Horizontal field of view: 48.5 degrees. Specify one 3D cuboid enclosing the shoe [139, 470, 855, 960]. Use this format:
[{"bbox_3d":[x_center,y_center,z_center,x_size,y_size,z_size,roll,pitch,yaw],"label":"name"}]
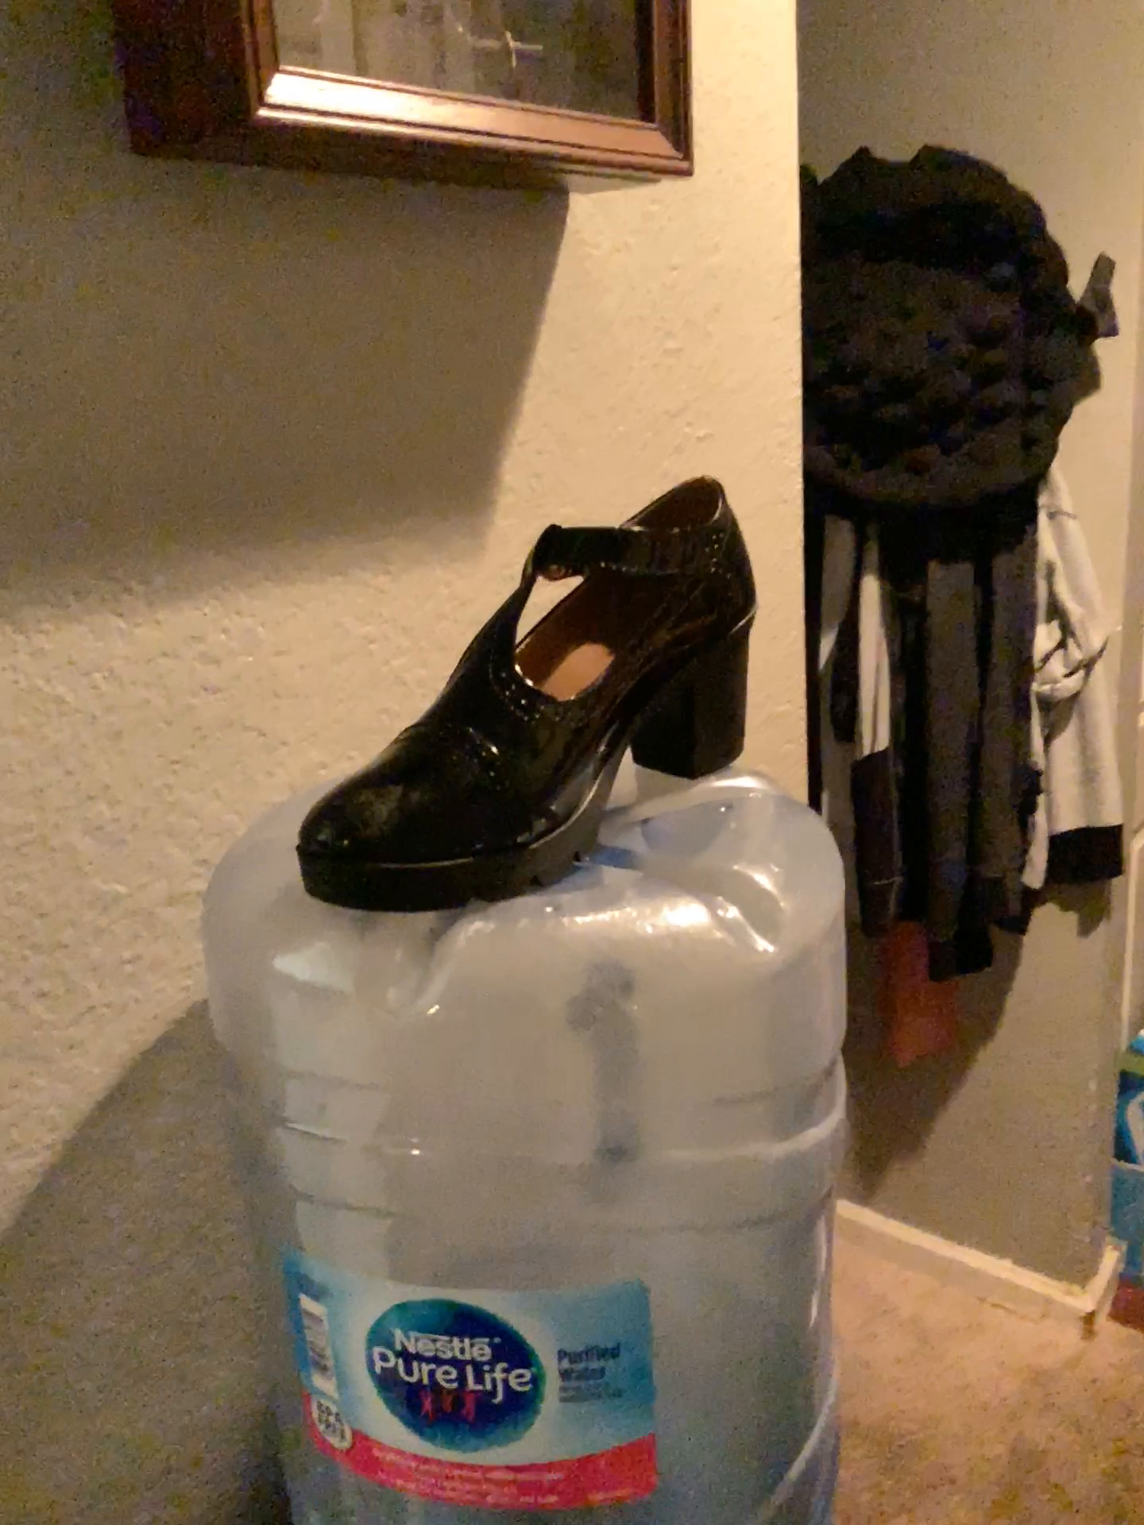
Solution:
[{"bbox_3d":[-0.012,-0.040,0.496,0.130,0.120,0.250,12,23,42],"label":"shoe"}]
